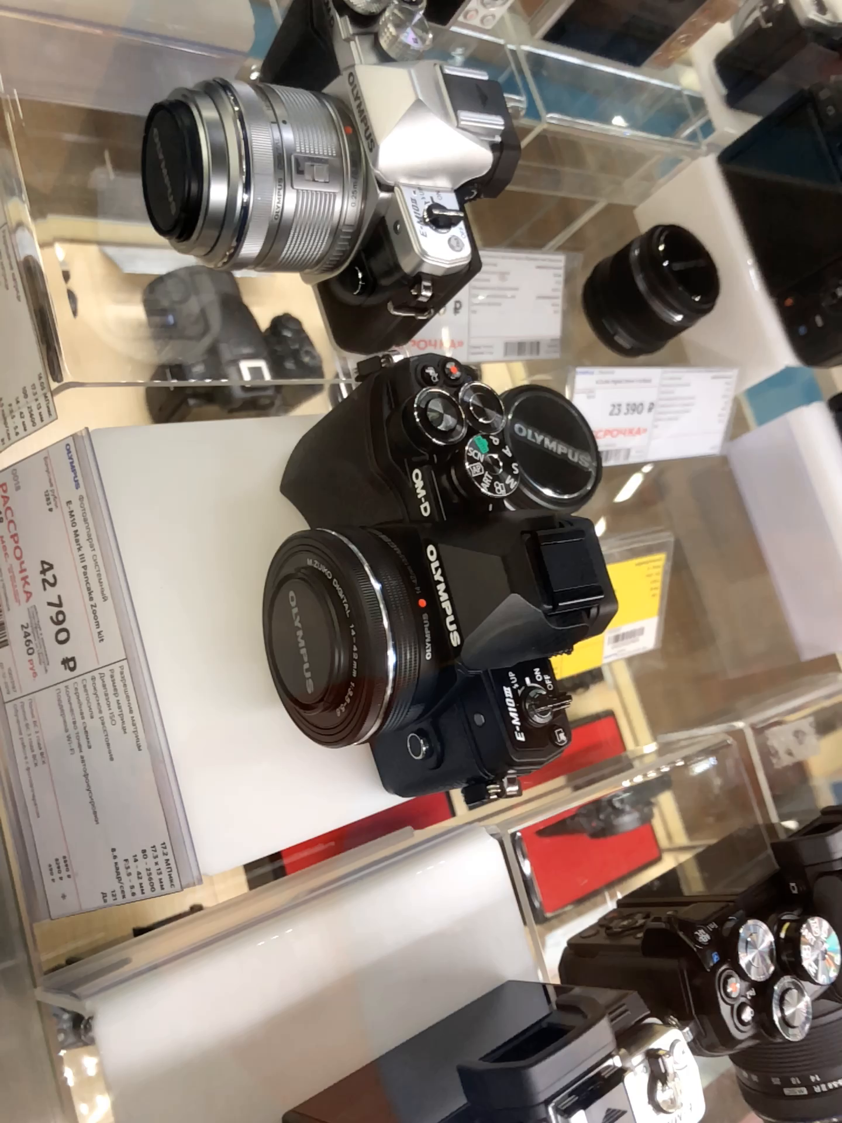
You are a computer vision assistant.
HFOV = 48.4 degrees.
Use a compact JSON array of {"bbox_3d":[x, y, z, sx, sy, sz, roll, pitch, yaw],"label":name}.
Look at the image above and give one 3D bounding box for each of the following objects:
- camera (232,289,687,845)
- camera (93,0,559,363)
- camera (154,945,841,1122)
[{"bbox_3d":[0.005,0.004,0.269,0.064,0.082,0.129,-6,75,-37],"label":"camera"},{"bbox_3d":[-0.033,-0.133,0.290,0.094,0.080,0.112,-6,75,-37],"label":"camera"},{"bbox_3d":[0.022,0.161,0.217,0.124,0.074,0.094,-11,78,-38],"label":"camera"}]
